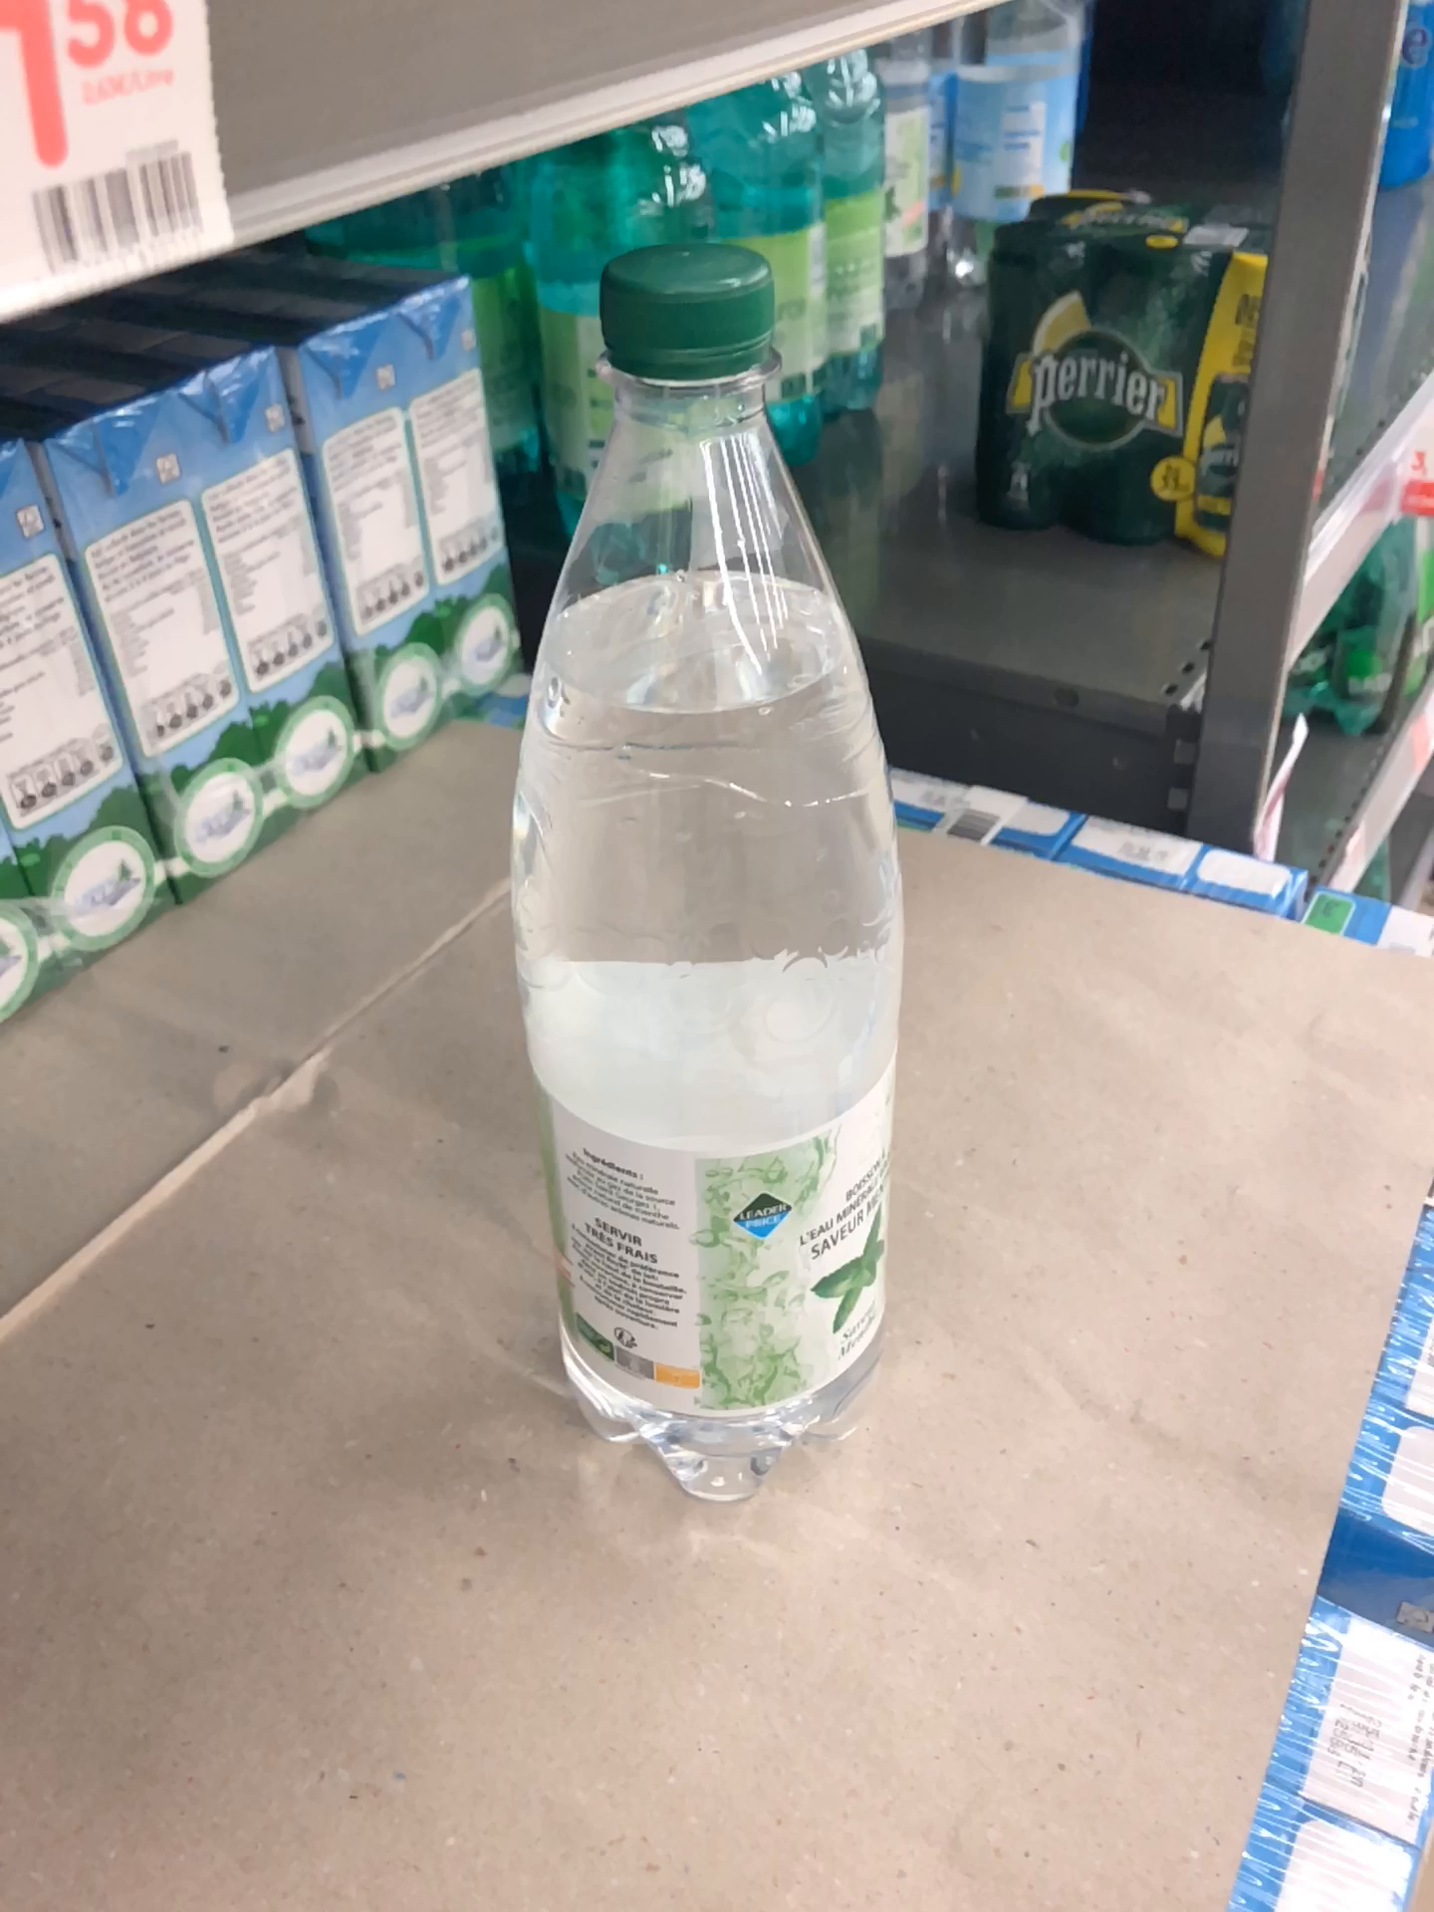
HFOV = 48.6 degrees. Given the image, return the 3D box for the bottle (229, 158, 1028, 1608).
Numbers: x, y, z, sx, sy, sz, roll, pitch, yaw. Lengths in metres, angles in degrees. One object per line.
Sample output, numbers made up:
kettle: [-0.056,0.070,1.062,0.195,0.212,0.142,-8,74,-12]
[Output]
bottle: [-0.004,0.000,0.352,0.090,0.298,0.101,21,43,28]
